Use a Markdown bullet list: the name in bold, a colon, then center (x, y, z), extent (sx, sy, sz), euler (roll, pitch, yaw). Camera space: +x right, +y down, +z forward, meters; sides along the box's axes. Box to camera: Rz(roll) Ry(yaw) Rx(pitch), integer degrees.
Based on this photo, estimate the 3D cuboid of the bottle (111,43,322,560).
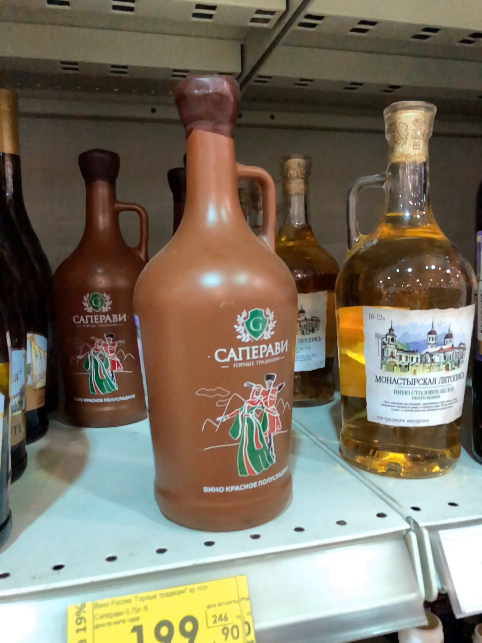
- **bottle**: center (-0.016, -0.011, 0.317), extent (0.090, 0.250, 0.090), euler (-1, 5, 0)
